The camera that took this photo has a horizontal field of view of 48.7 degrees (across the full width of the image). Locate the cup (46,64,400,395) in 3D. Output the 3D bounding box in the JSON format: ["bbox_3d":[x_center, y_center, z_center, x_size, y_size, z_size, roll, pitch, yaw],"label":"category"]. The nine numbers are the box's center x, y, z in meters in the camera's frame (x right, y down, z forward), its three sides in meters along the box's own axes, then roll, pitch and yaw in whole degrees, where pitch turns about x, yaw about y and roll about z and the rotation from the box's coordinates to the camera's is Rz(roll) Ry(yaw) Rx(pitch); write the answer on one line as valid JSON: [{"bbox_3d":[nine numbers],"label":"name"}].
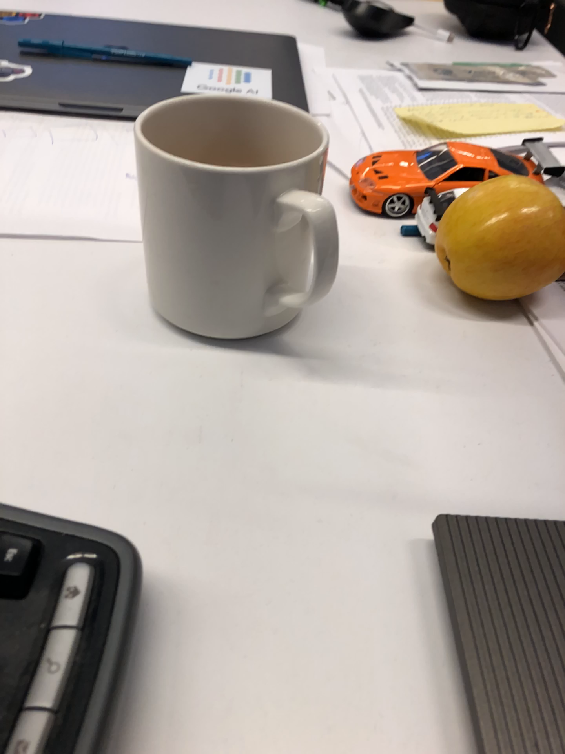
[{"bbox_3d":[-0.029,-0.071,0.271,0.080,0.080,0.120,-30,53,-33],"label":"cup"}]
